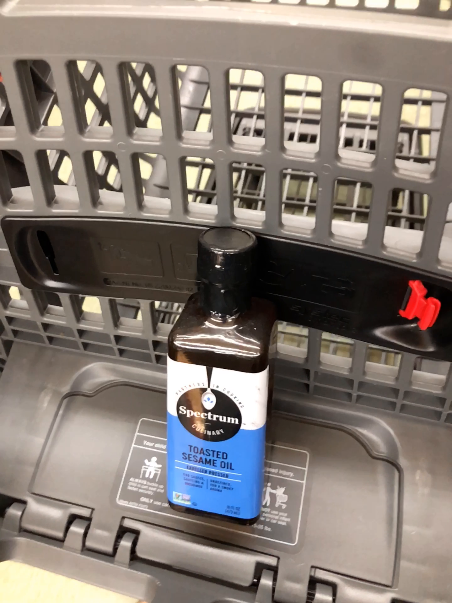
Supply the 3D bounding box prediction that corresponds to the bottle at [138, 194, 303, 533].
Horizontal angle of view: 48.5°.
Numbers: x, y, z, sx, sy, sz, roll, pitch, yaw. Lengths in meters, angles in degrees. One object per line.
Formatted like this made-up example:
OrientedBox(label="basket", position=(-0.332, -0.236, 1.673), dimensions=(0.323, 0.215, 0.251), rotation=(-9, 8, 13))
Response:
OrientedBox(label="bottle", position=(-0.002, 0.045, 0.303), dimensions=(0.070, 0.200, 0.060), rotation=(8, 33, 10))
